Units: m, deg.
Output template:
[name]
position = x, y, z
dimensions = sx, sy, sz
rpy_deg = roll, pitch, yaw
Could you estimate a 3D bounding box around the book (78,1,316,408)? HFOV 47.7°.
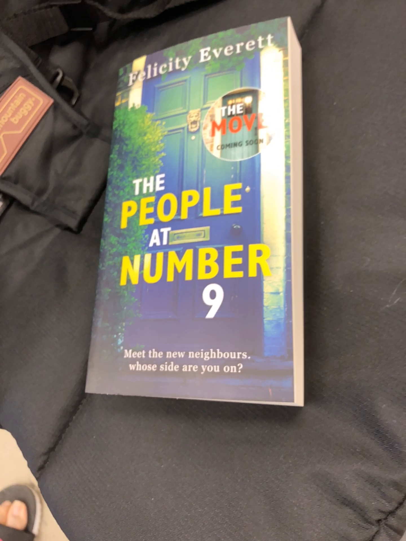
[book]
position = -0.003, -0.033, 0.240
dimensions = 0.110, 0.030, 0.195
rpy_deg = -4, 76, 20
